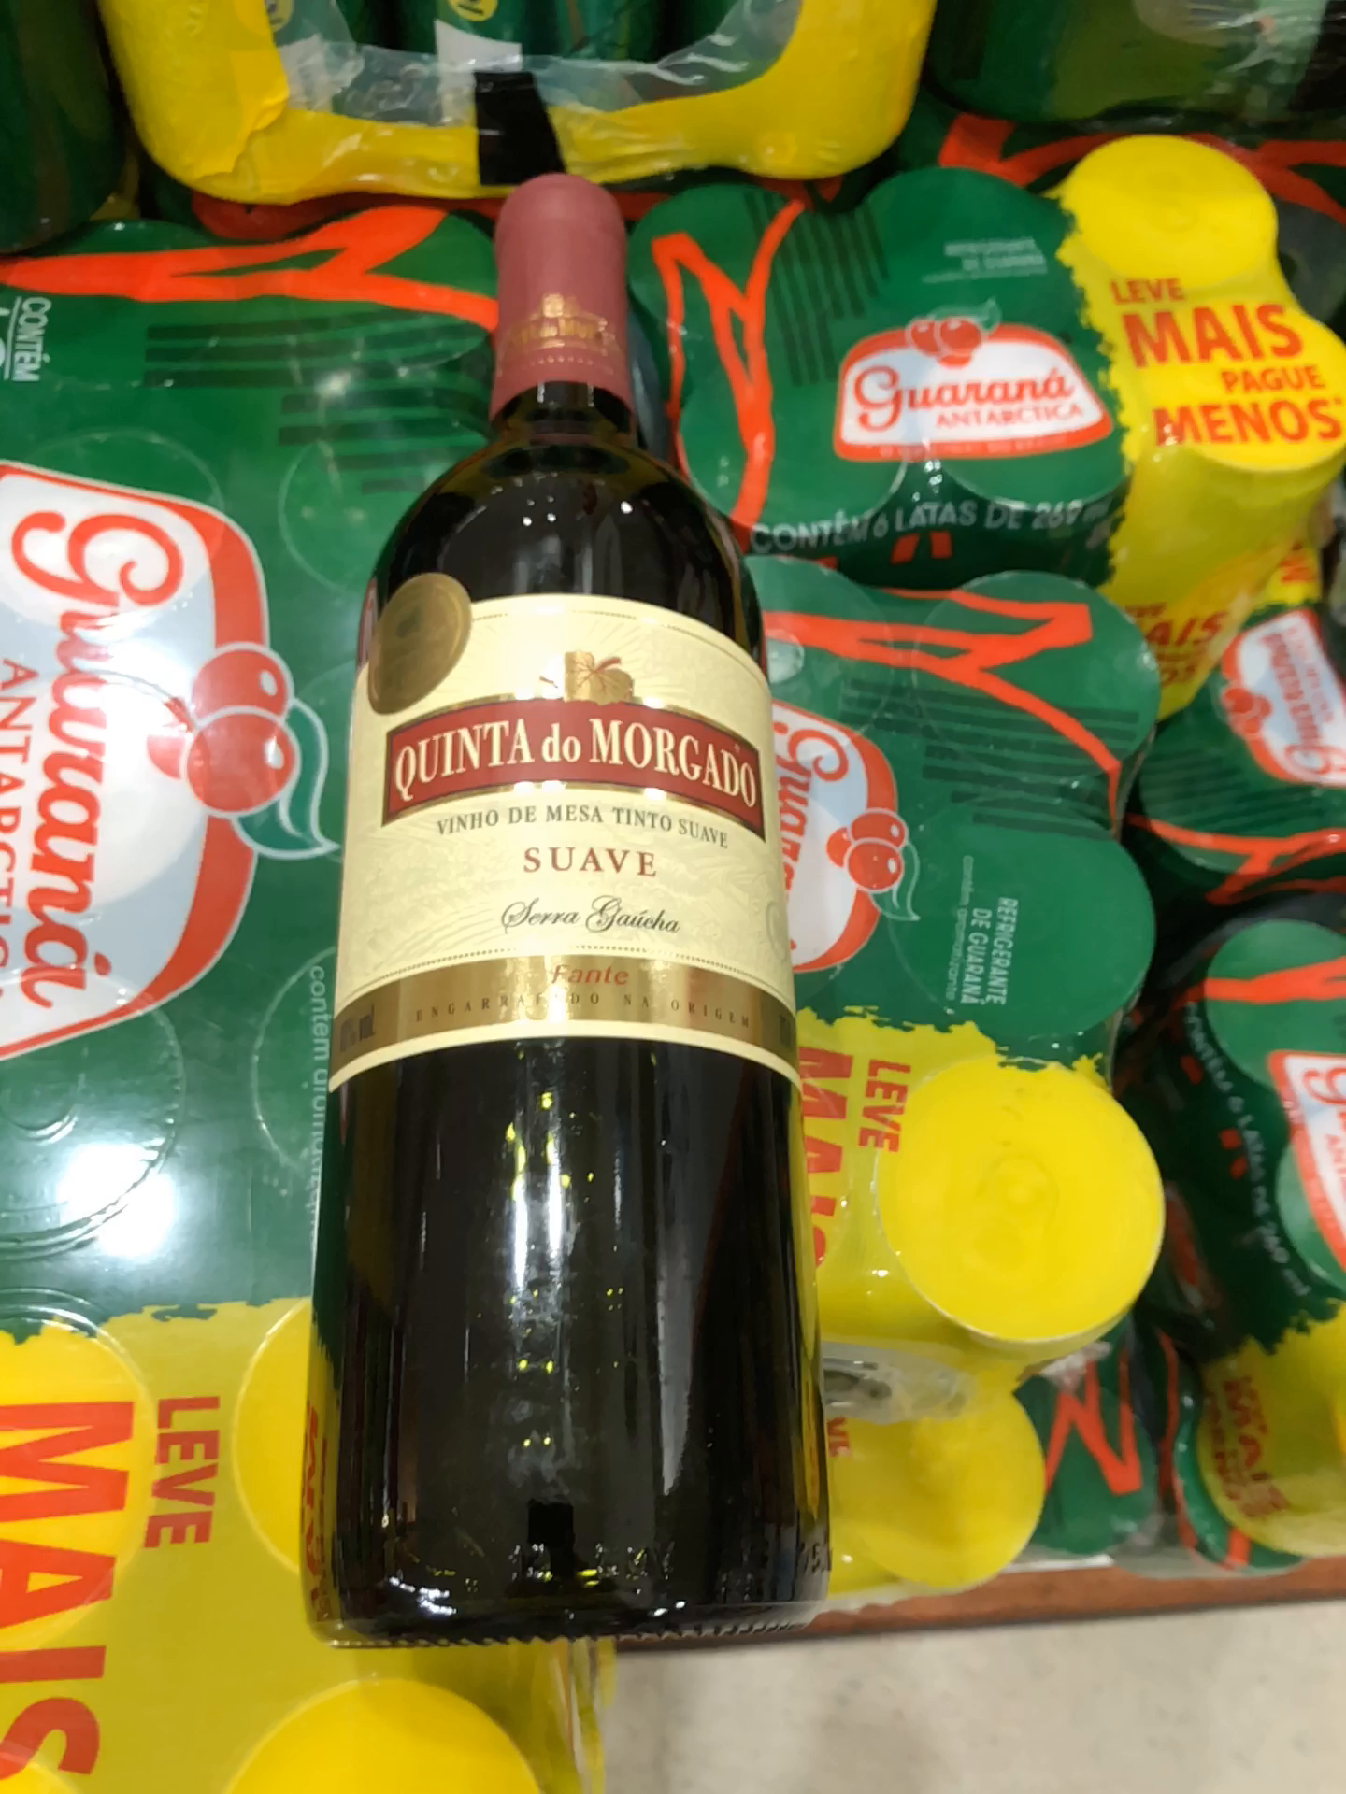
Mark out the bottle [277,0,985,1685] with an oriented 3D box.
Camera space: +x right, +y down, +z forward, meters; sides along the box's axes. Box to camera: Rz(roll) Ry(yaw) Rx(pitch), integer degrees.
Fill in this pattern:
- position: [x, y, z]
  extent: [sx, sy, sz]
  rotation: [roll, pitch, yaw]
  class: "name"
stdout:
- position: [-0.015, -0.022, 0.261]
  extent: [0.080, 0.070, 0.271]
  rotation: [6, 66, -20]
  class: "bottle"
